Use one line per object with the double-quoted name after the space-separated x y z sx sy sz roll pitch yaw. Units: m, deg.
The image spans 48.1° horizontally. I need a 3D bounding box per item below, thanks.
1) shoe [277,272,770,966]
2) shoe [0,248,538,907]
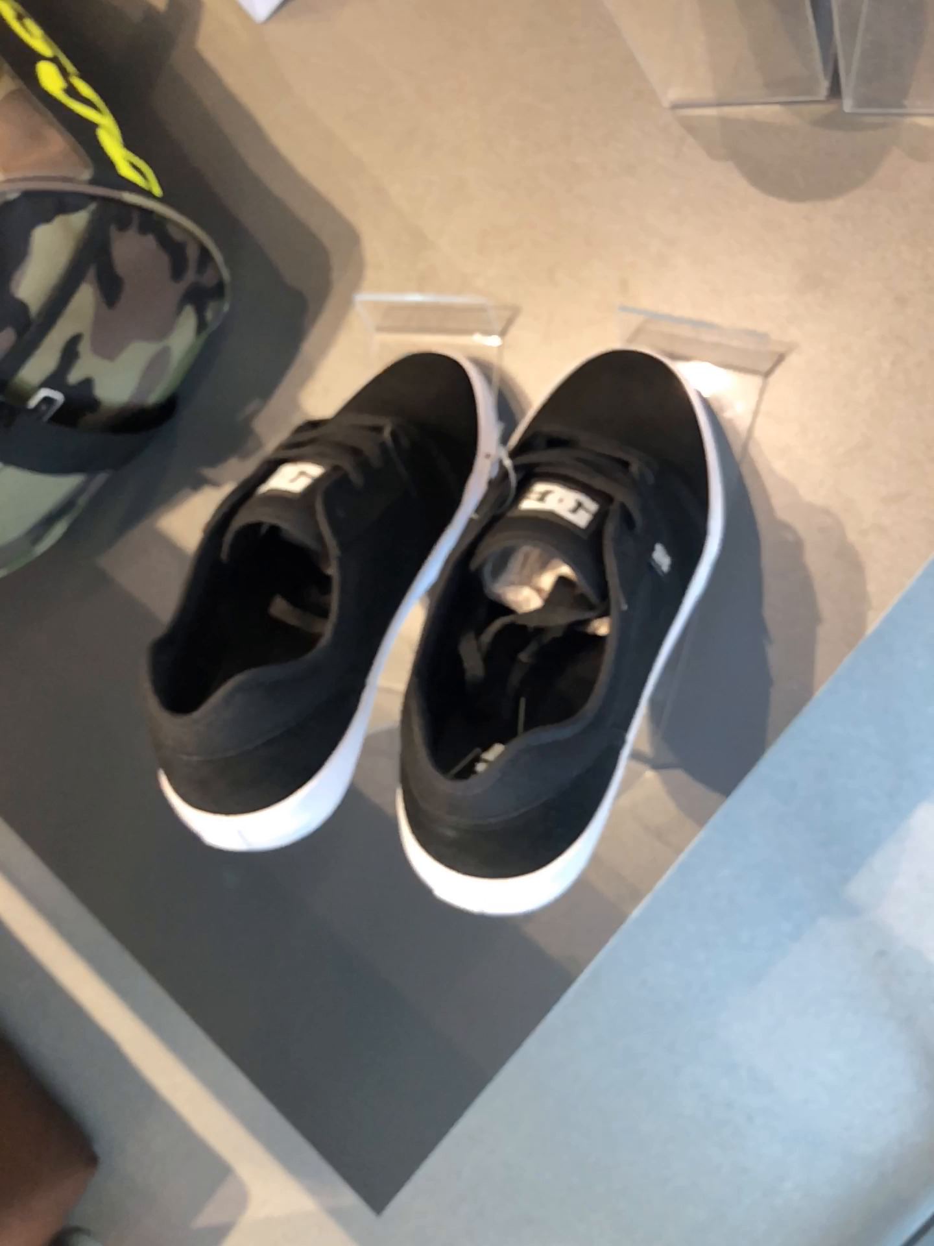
0.036 -0.010 0.401 0.106 0.107 0.229 12 60 16 "shoe"
-0.059 -0.027 0.416 0.106 0.107 0.229 10 59 17 "shoe"
